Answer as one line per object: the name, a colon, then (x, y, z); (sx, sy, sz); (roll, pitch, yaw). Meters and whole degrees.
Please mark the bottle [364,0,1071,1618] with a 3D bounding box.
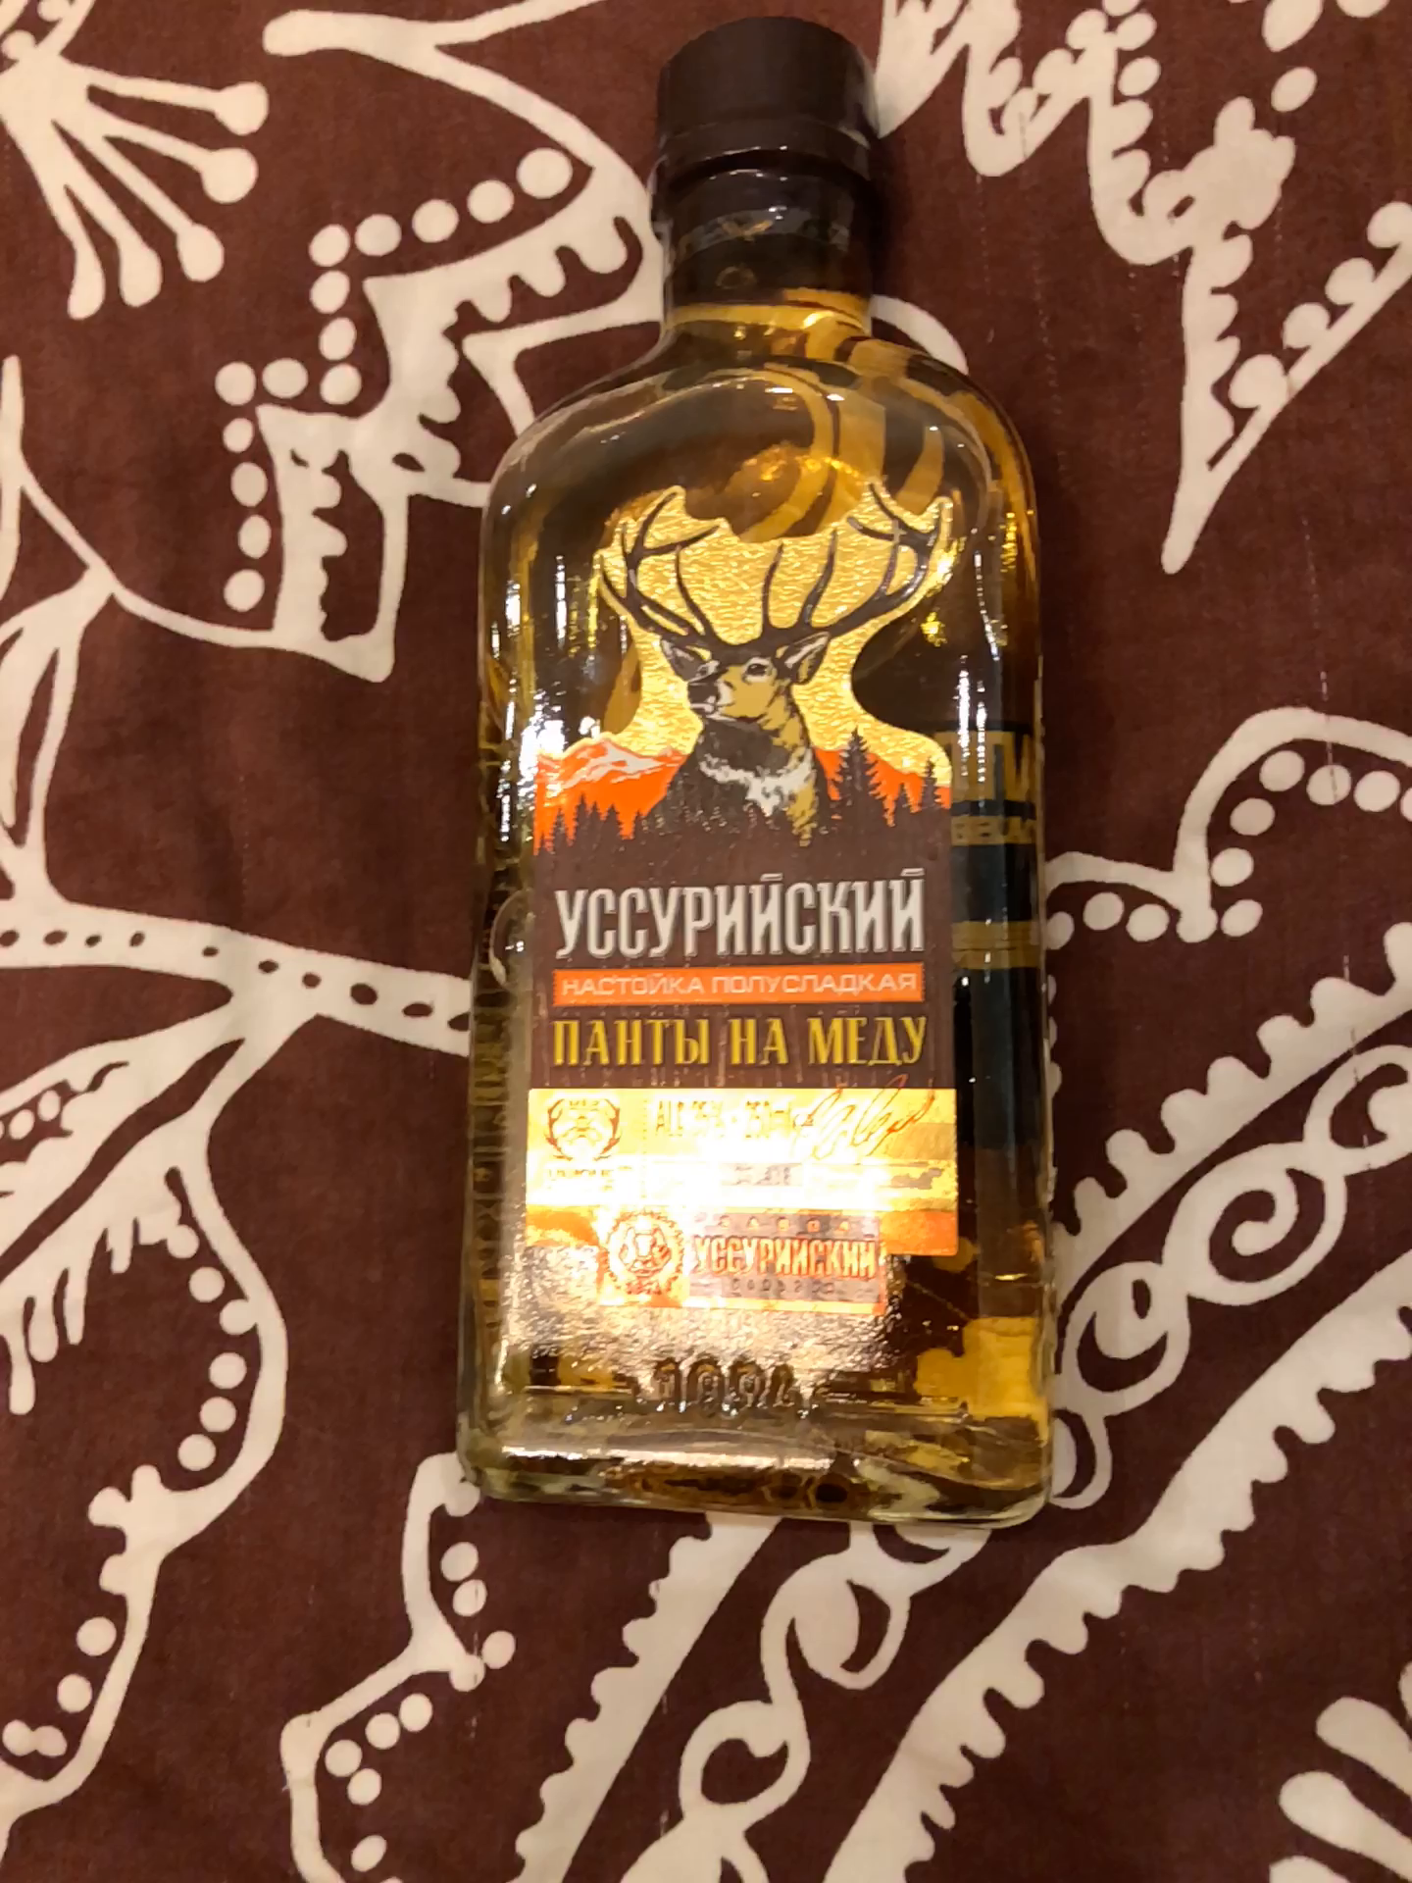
bottle: (0.006, -0.026, 0.195); (0.070, 0.050, 0.190); (-1, 80, 16)
